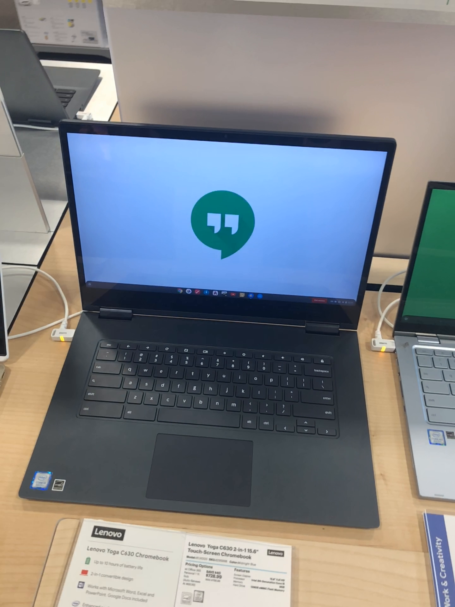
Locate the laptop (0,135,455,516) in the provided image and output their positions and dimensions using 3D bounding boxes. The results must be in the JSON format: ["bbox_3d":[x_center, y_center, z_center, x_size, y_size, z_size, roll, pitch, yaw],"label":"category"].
[{"bbox_3d":[-0.010,0.014,0.502,0.343,0.230,0.293,4,47,3],"label":"laptop"}]
